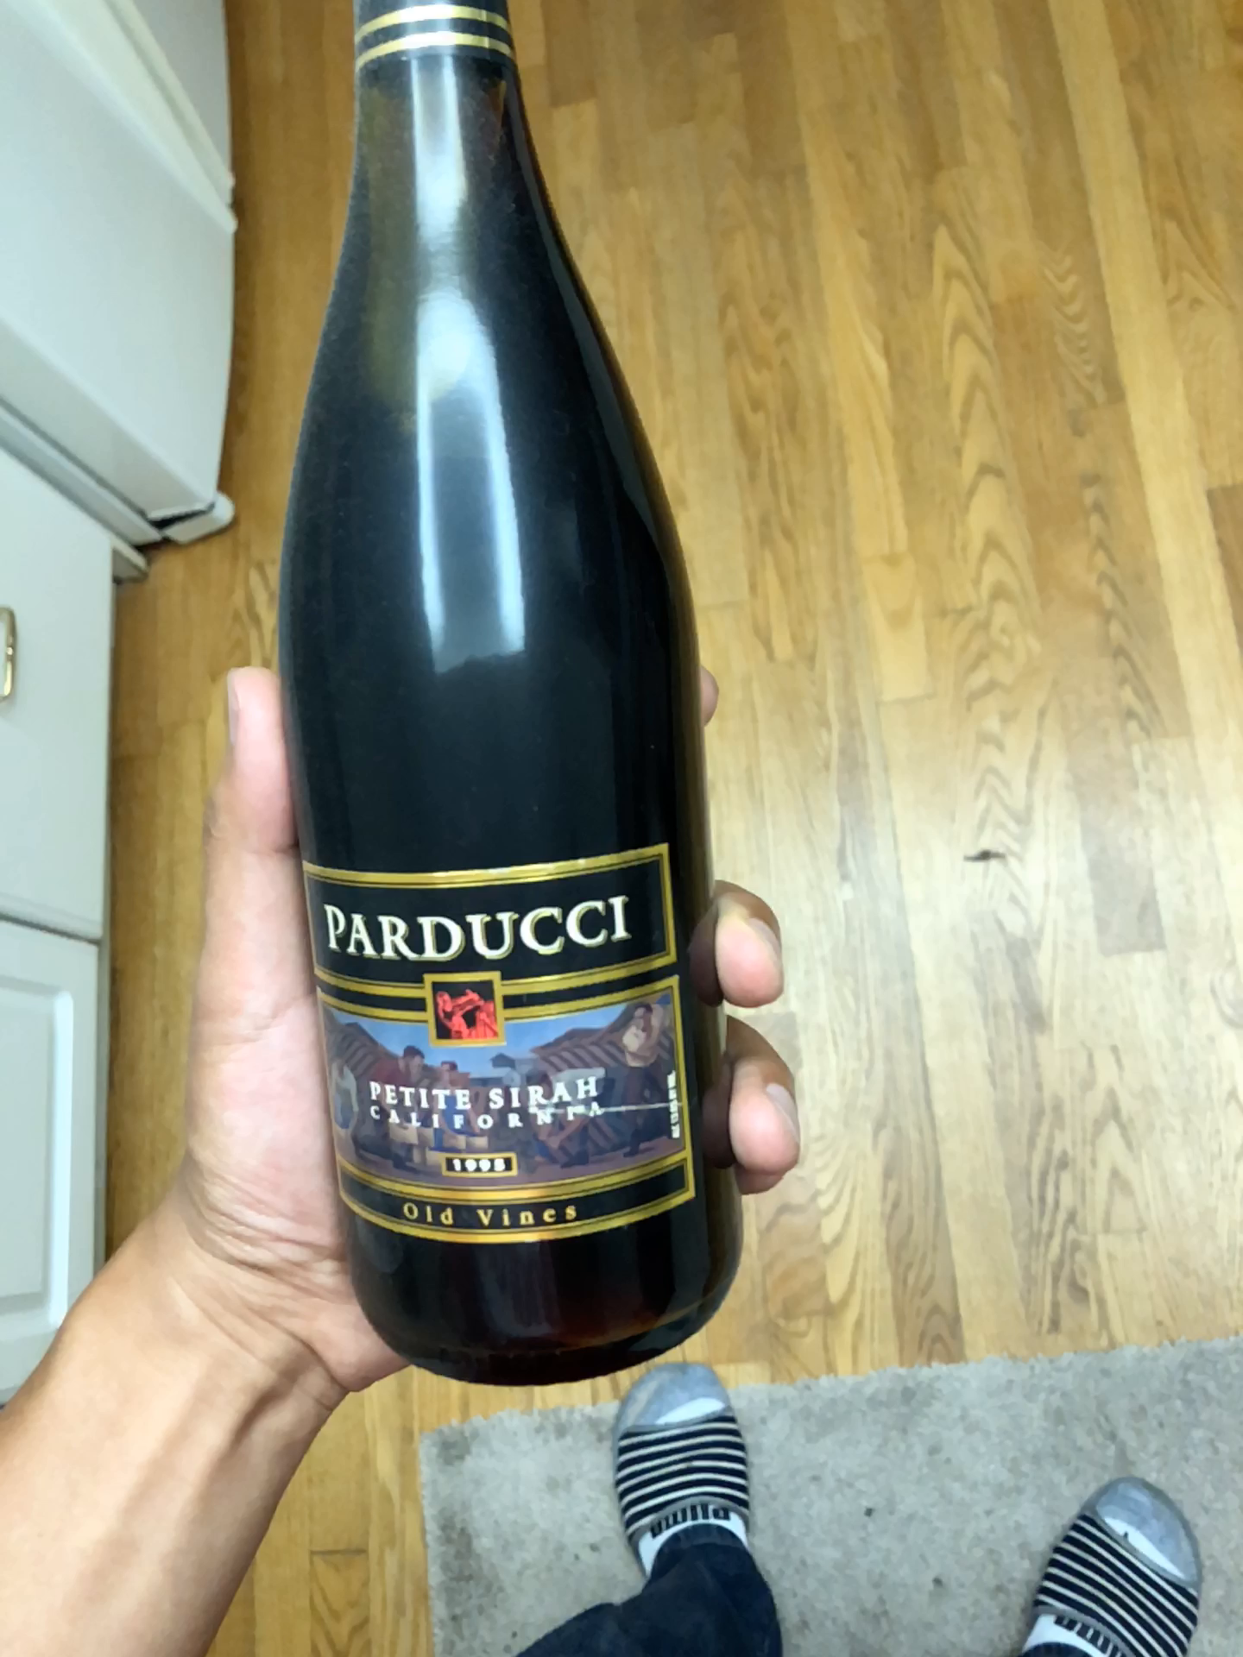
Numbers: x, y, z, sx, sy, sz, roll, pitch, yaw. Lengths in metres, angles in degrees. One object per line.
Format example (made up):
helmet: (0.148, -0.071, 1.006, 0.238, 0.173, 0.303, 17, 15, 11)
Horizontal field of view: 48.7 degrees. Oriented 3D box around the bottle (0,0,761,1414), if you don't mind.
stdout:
bottle: (-0.031, -0.039, 0.253, 0.090, 0.070, 0.280, -3, 103, 11)
